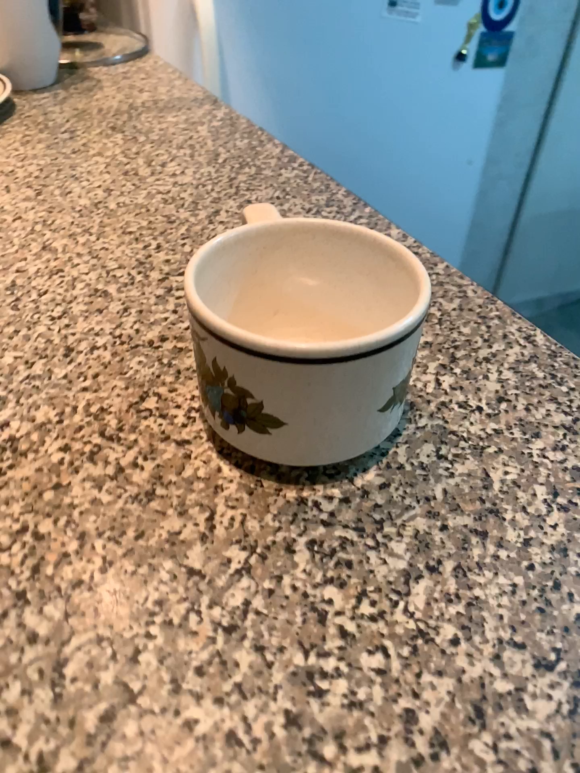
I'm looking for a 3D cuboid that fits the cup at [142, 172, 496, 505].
[{"bbox_3d":[0.001,-0.028,0.230,0.087,0.054,0.117,-12,44,-16],"label":"cup"}]
